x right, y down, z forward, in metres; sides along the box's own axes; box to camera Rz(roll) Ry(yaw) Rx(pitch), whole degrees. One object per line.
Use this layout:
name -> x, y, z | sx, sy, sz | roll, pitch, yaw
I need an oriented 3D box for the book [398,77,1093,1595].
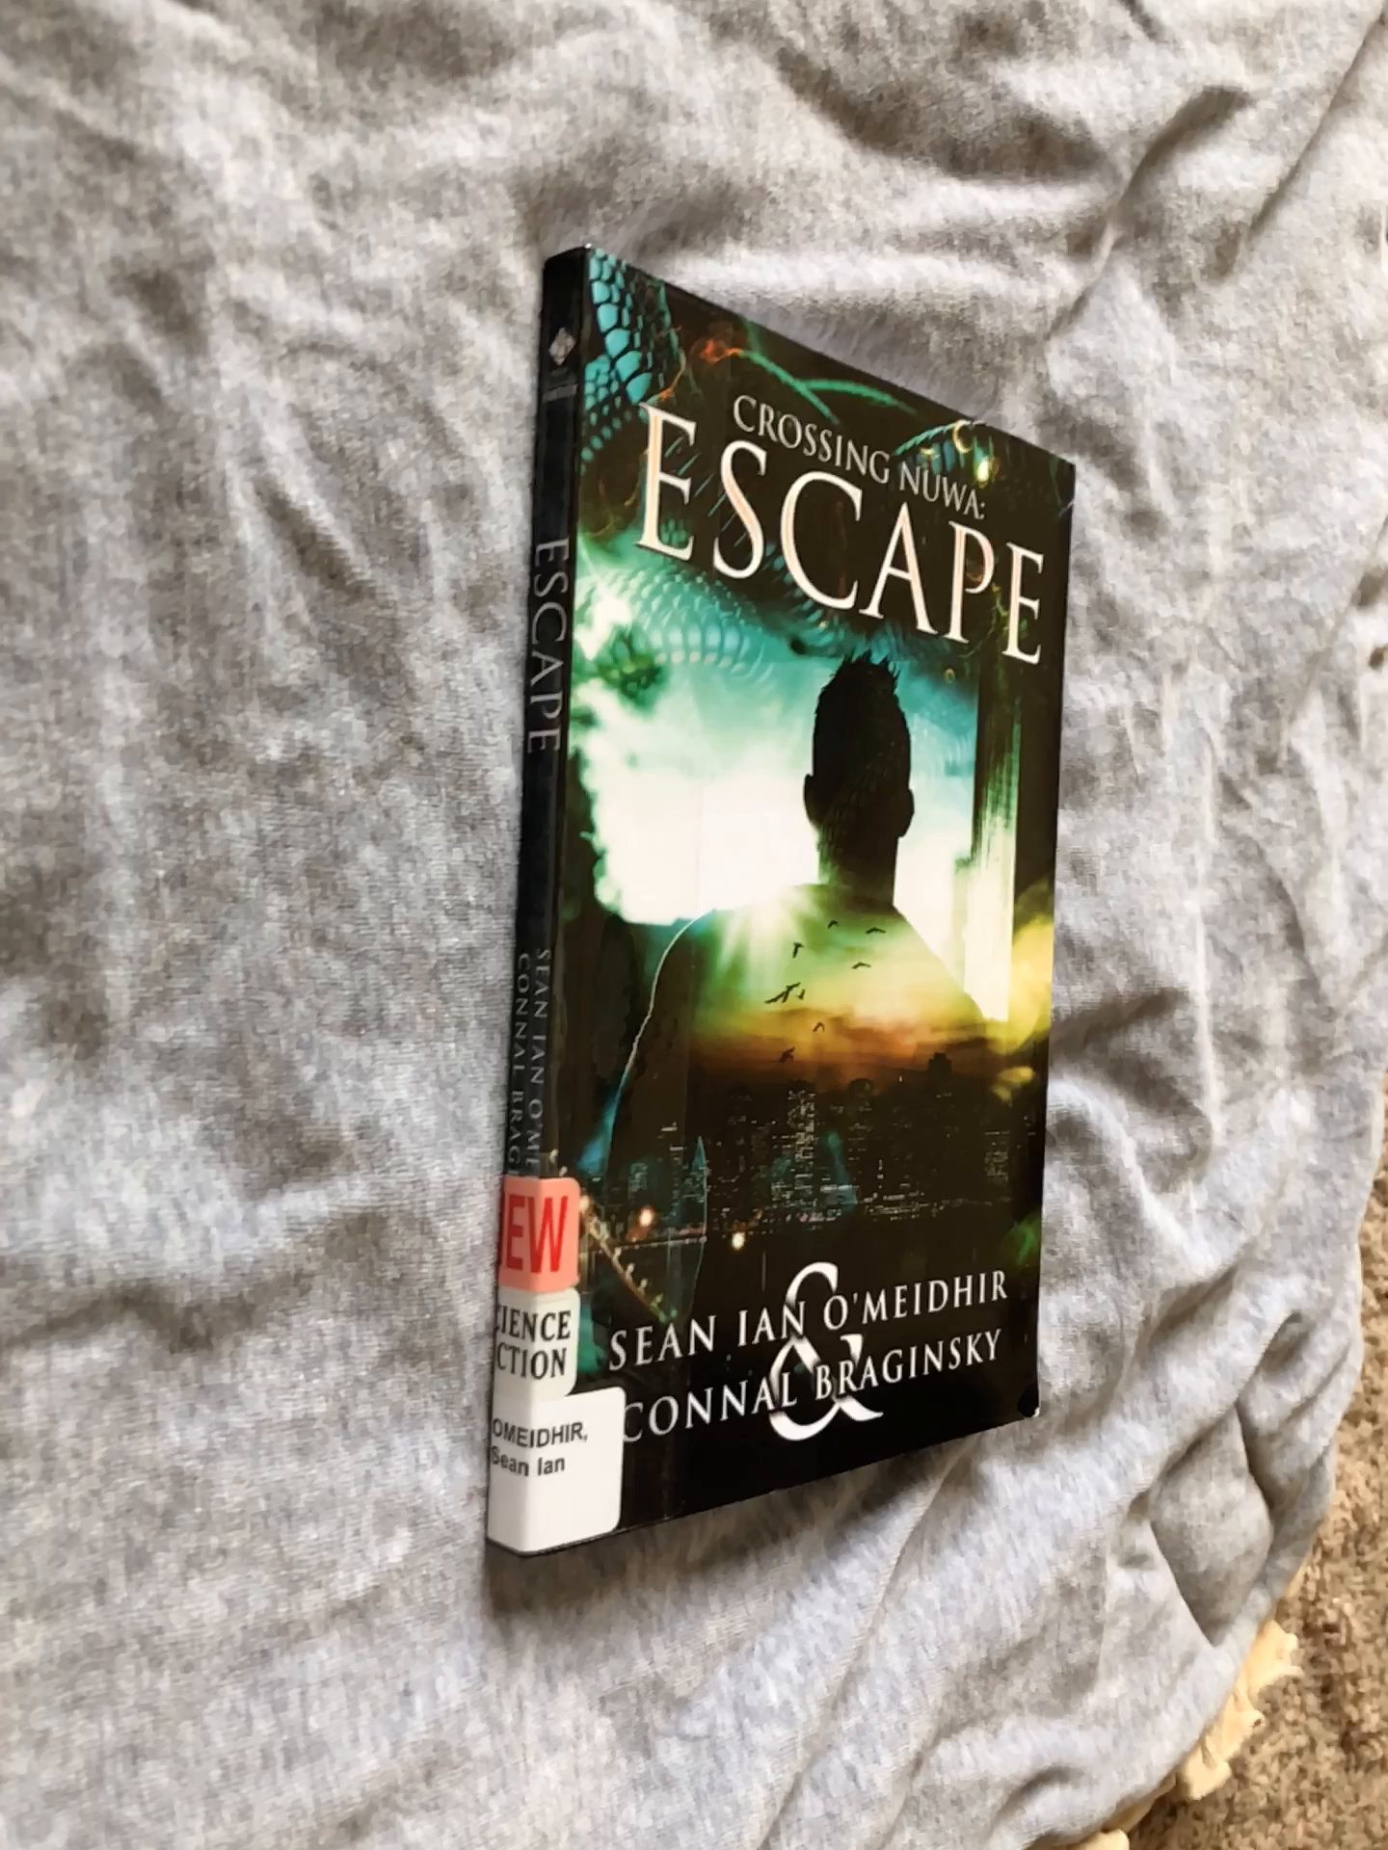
book -> 0.022, -0.012, 0.319 | 0.161, 0.030, 0.250 | 4, 87, -43
